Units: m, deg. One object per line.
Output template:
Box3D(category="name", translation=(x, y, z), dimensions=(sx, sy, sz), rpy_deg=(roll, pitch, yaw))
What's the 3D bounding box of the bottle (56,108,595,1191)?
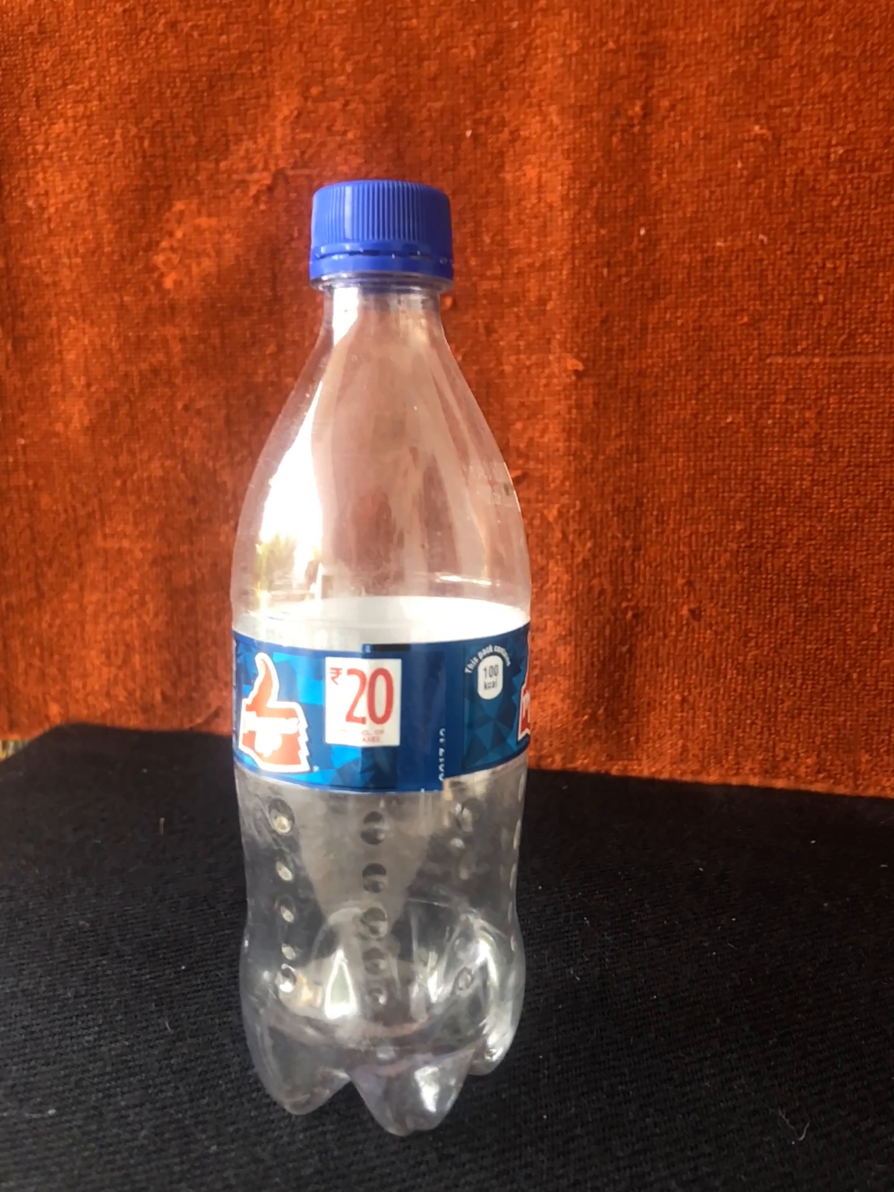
Box3D(category="bottle", translation=(-0.013, 0.009, 0.152), dimensions=(0.060, 0.140, 0.050), rpy_deg=(3, 13, 12))
